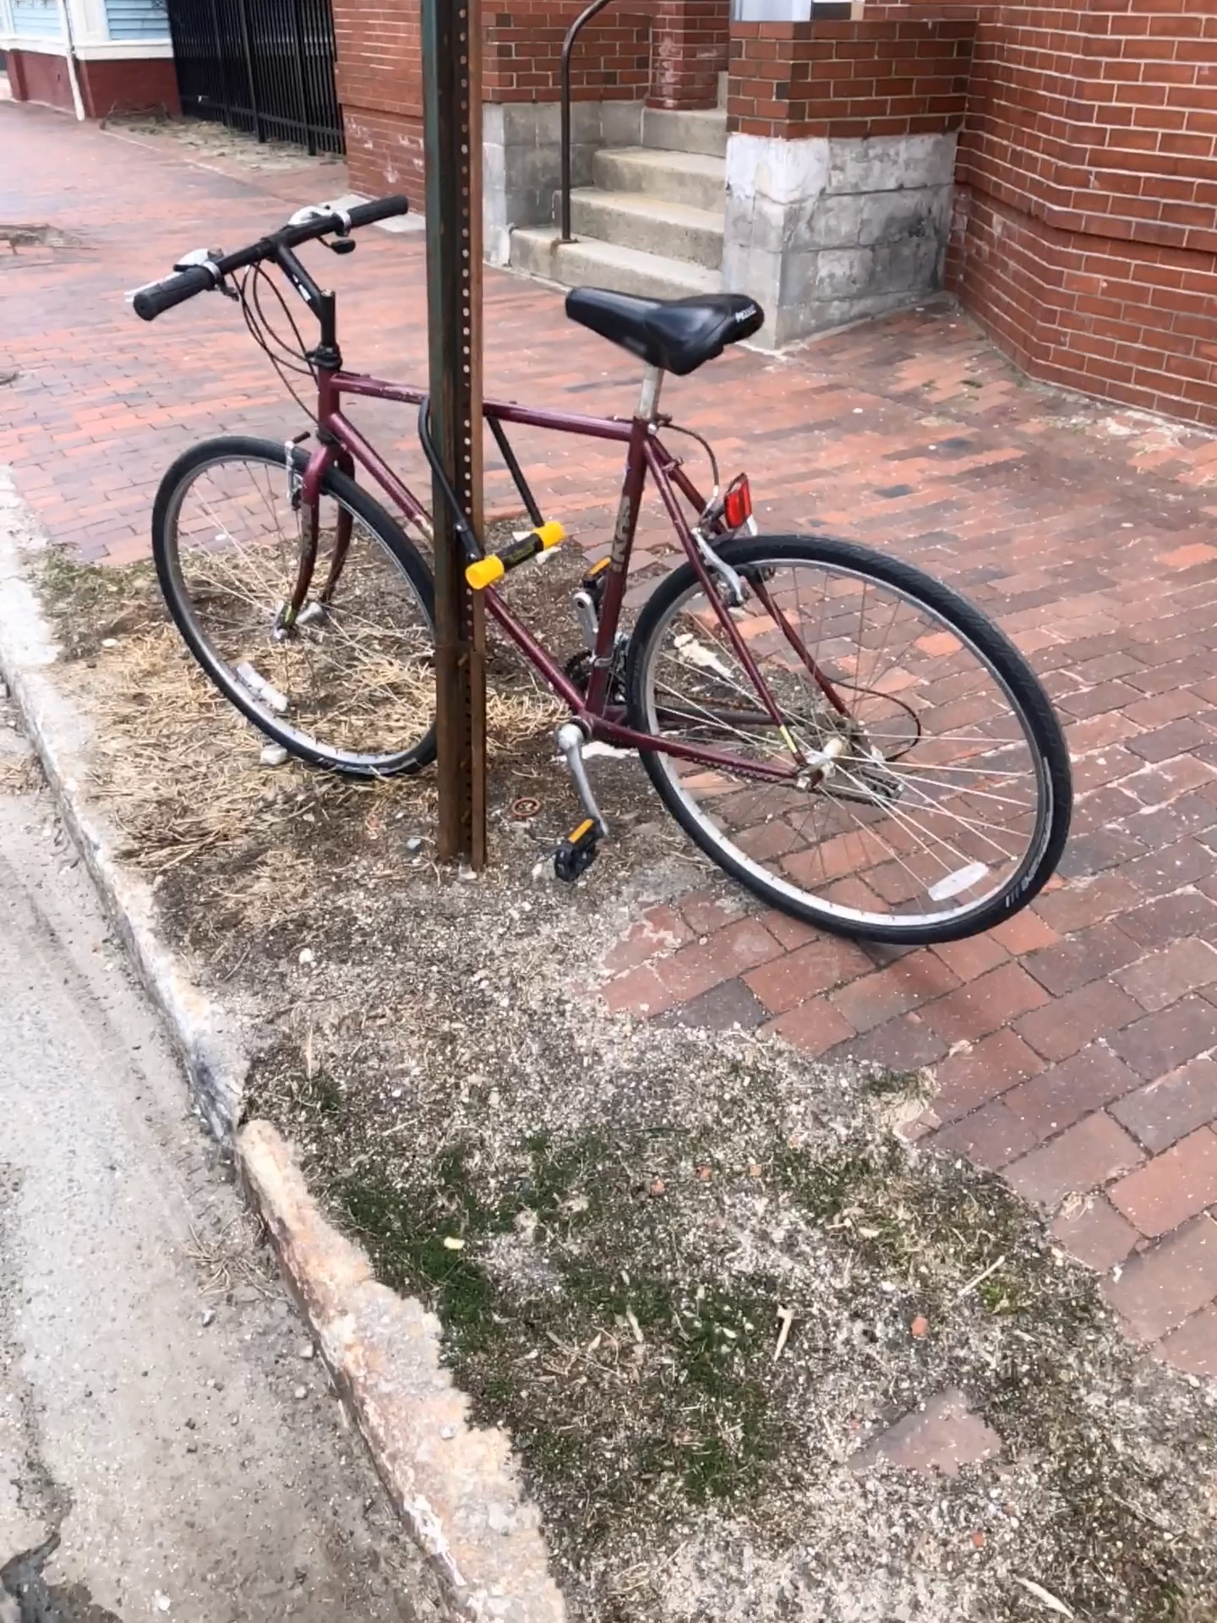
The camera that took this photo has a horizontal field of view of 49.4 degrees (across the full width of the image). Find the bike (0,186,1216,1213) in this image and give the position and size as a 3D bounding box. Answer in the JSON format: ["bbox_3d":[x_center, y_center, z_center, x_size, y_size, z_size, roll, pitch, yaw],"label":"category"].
[{"bbox_3d":[-0.149,-0.323,2.036,1.729,1.011,0.671,18,35,27],"label":"bike"}]
